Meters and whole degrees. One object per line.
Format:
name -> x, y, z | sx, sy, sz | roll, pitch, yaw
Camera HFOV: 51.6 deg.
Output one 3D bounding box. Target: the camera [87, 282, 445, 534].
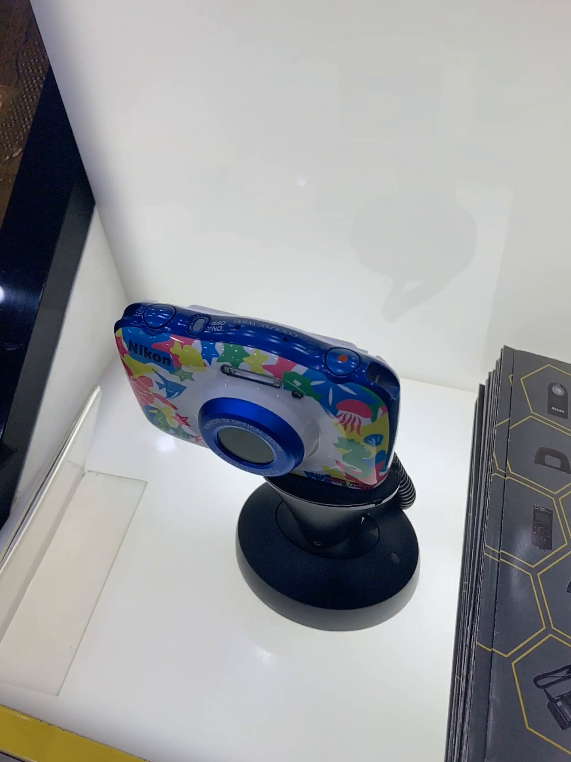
camera -> -0.007, 0.010, 0.231 | 0.120, 0.060, 0.040 | 15, 52, 15
